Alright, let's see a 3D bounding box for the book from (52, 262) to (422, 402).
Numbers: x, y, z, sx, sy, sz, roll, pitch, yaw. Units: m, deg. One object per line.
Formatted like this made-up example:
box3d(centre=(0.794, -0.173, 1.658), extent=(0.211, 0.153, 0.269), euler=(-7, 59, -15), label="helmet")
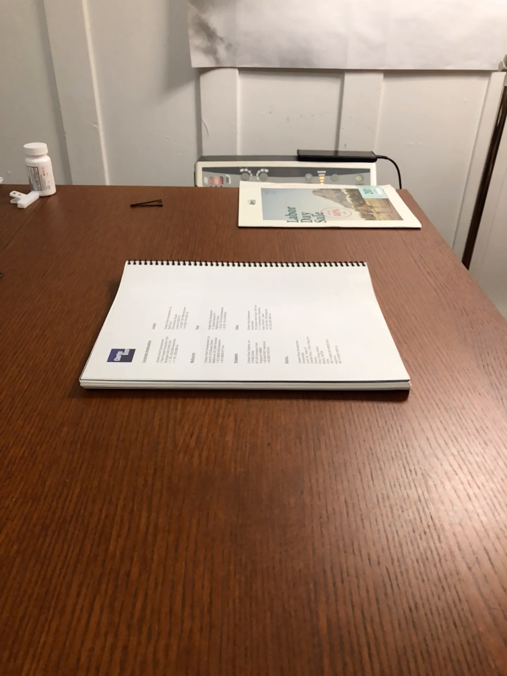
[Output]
box3d(centre=(-0.015, -0.017, 0.556), extent=(0.300, 0.020, 0.231), euler=(0, 32, -2), label="book")
